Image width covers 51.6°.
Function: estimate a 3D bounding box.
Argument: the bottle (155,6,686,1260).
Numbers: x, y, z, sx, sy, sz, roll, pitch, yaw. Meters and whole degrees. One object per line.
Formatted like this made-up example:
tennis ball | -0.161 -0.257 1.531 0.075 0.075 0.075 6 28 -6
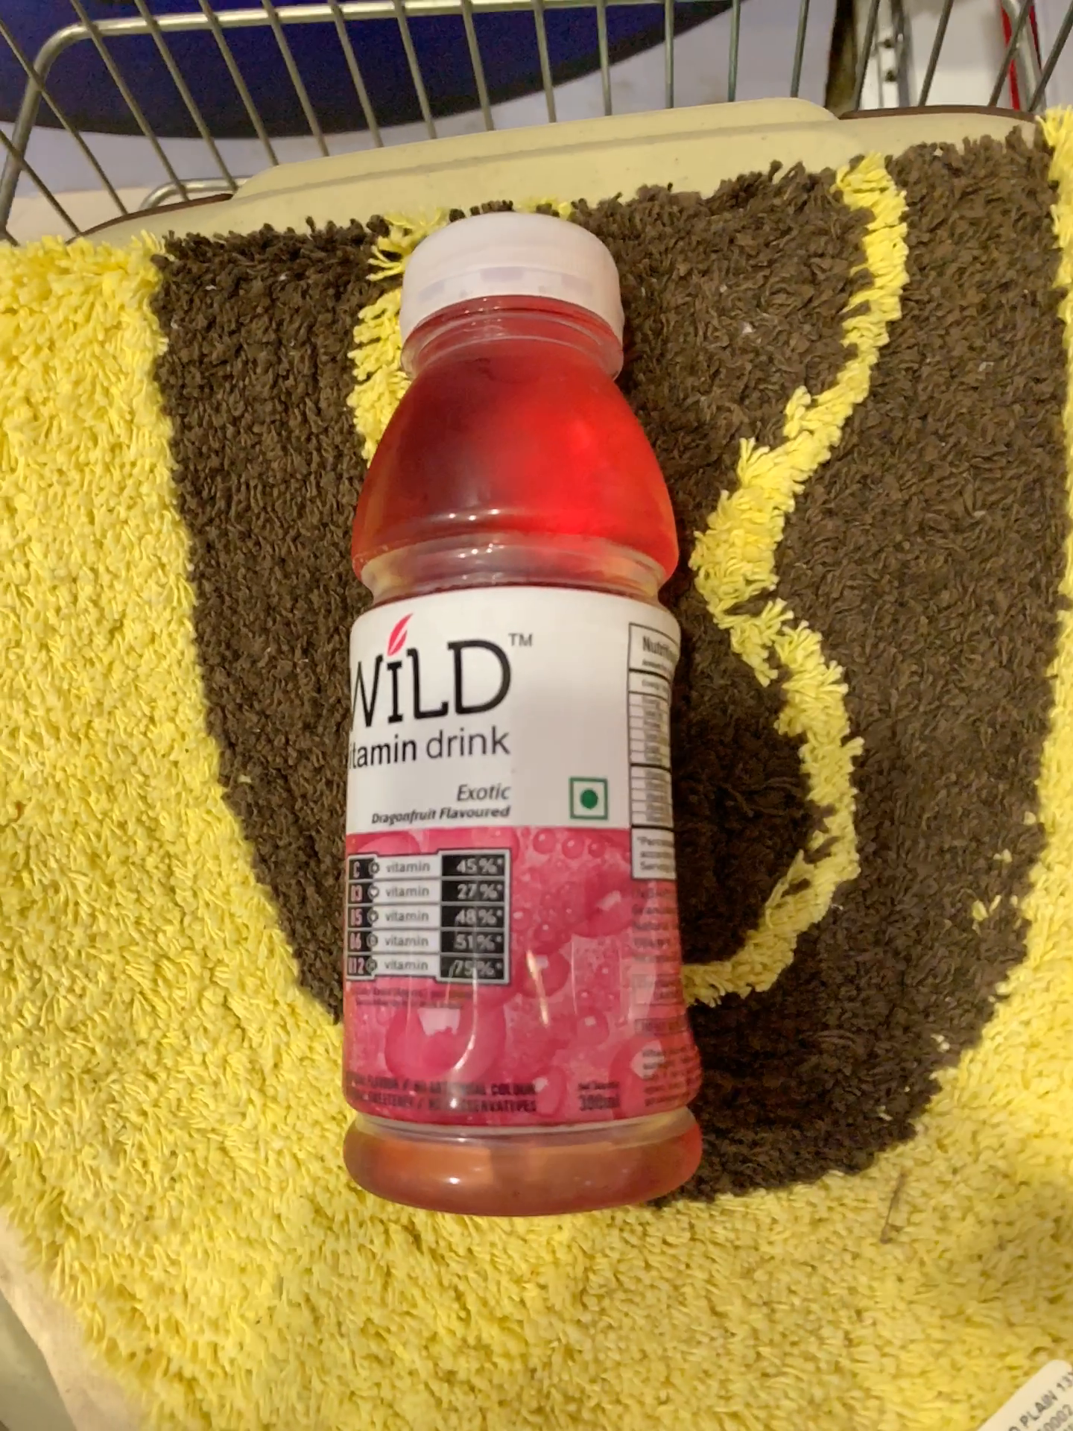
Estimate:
bottle | -0.016 -0.013 0.181 0.060 0.050 0.170 -7 76 30
